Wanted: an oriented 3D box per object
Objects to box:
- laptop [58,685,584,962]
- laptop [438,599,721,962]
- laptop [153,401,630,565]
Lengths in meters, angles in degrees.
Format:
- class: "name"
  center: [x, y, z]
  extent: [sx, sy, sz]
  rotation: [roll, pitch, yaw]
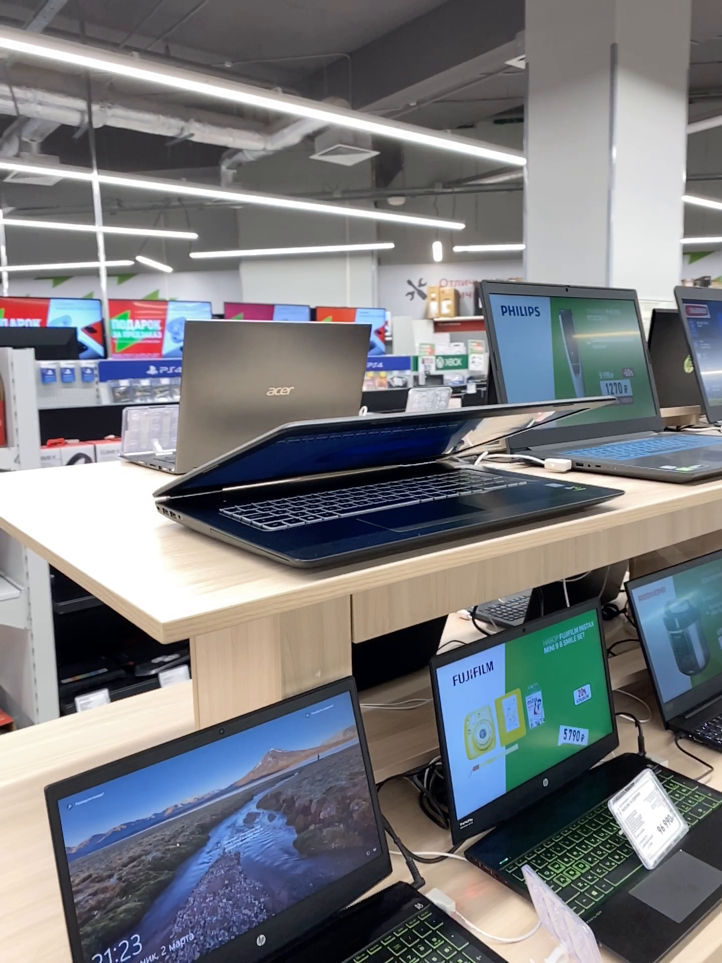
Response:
- class: "laptop"
  center: [-0.038, 0.382, 0.669]
  extent: [0.344, 0.220, 0.315]
  rotation: [-6, 9, -40]
- class: "laptop"
  center: [0.326, 0.333, 0.935]
  extent: [0.353, 0.226, 0.299]
  rotation: [-8, 11, -38]
- class: "laptop"
  center: [0.037, -0.024, 0.751]
  extent: [0.404, 0.084, 0.271]
  rotation: [-8, 13, -37]
